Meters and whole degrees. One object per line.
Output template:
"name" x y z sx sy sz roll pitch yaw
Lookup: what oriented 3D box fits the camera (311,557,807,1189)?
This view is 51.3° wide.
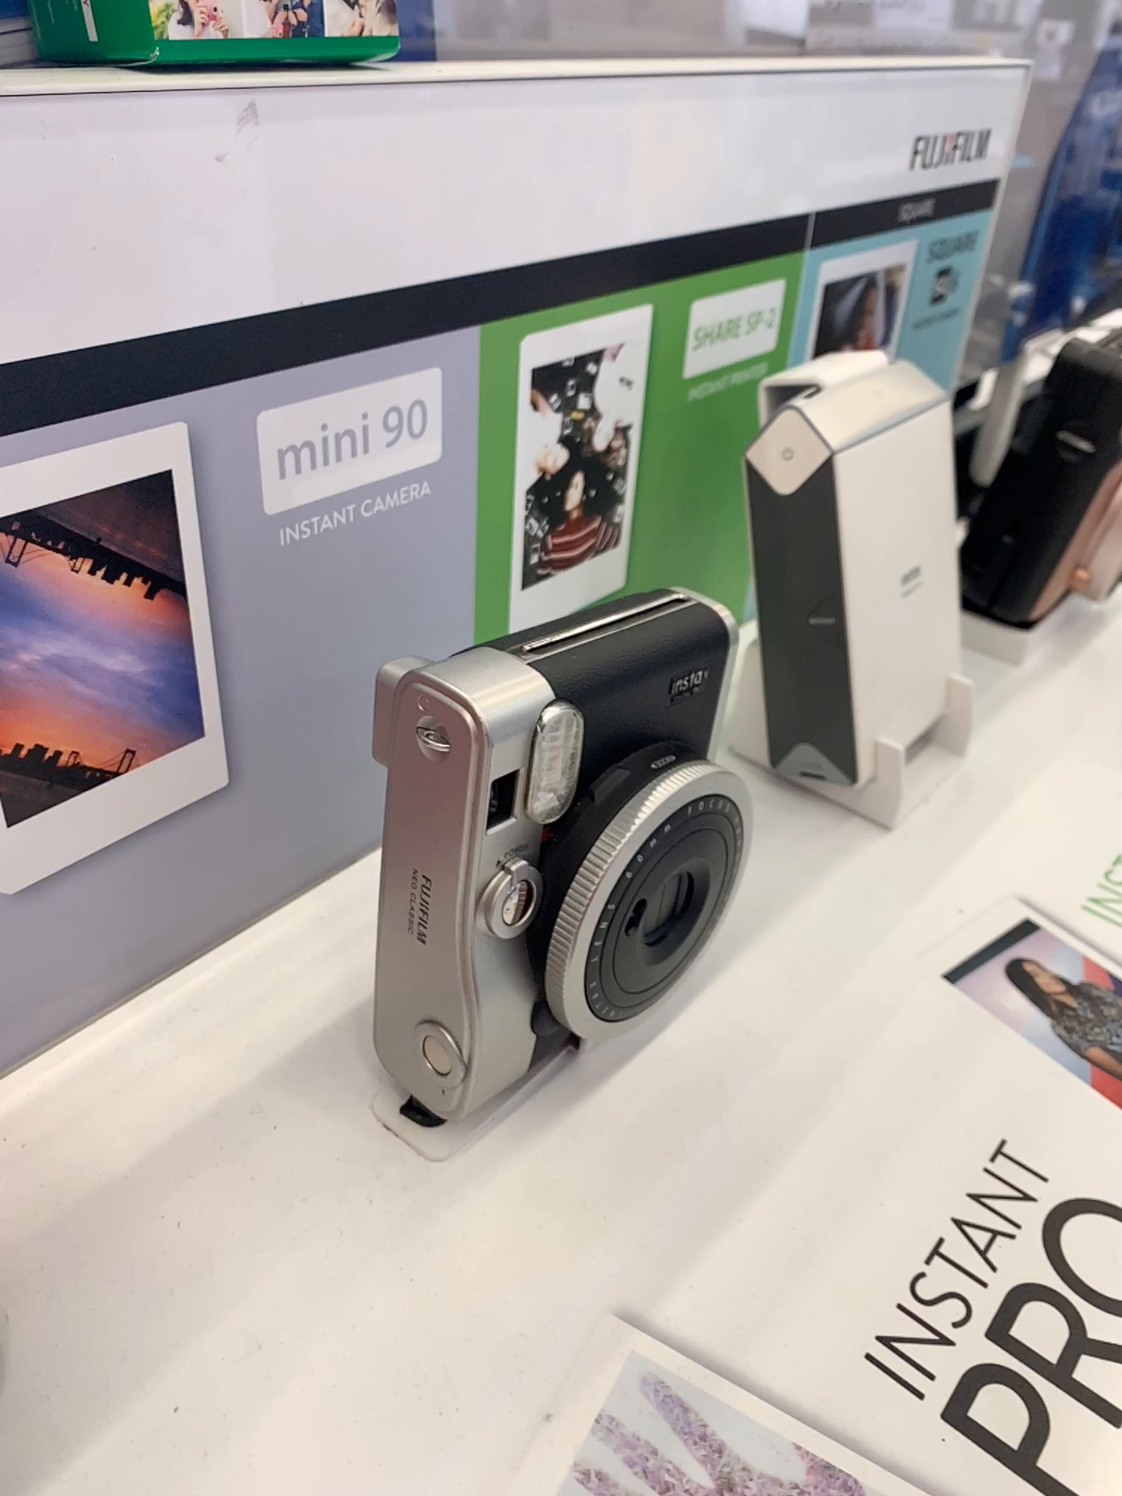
"camera" -0.002 0.024 0.276 0.050 0.109 0.100 30 37 34
